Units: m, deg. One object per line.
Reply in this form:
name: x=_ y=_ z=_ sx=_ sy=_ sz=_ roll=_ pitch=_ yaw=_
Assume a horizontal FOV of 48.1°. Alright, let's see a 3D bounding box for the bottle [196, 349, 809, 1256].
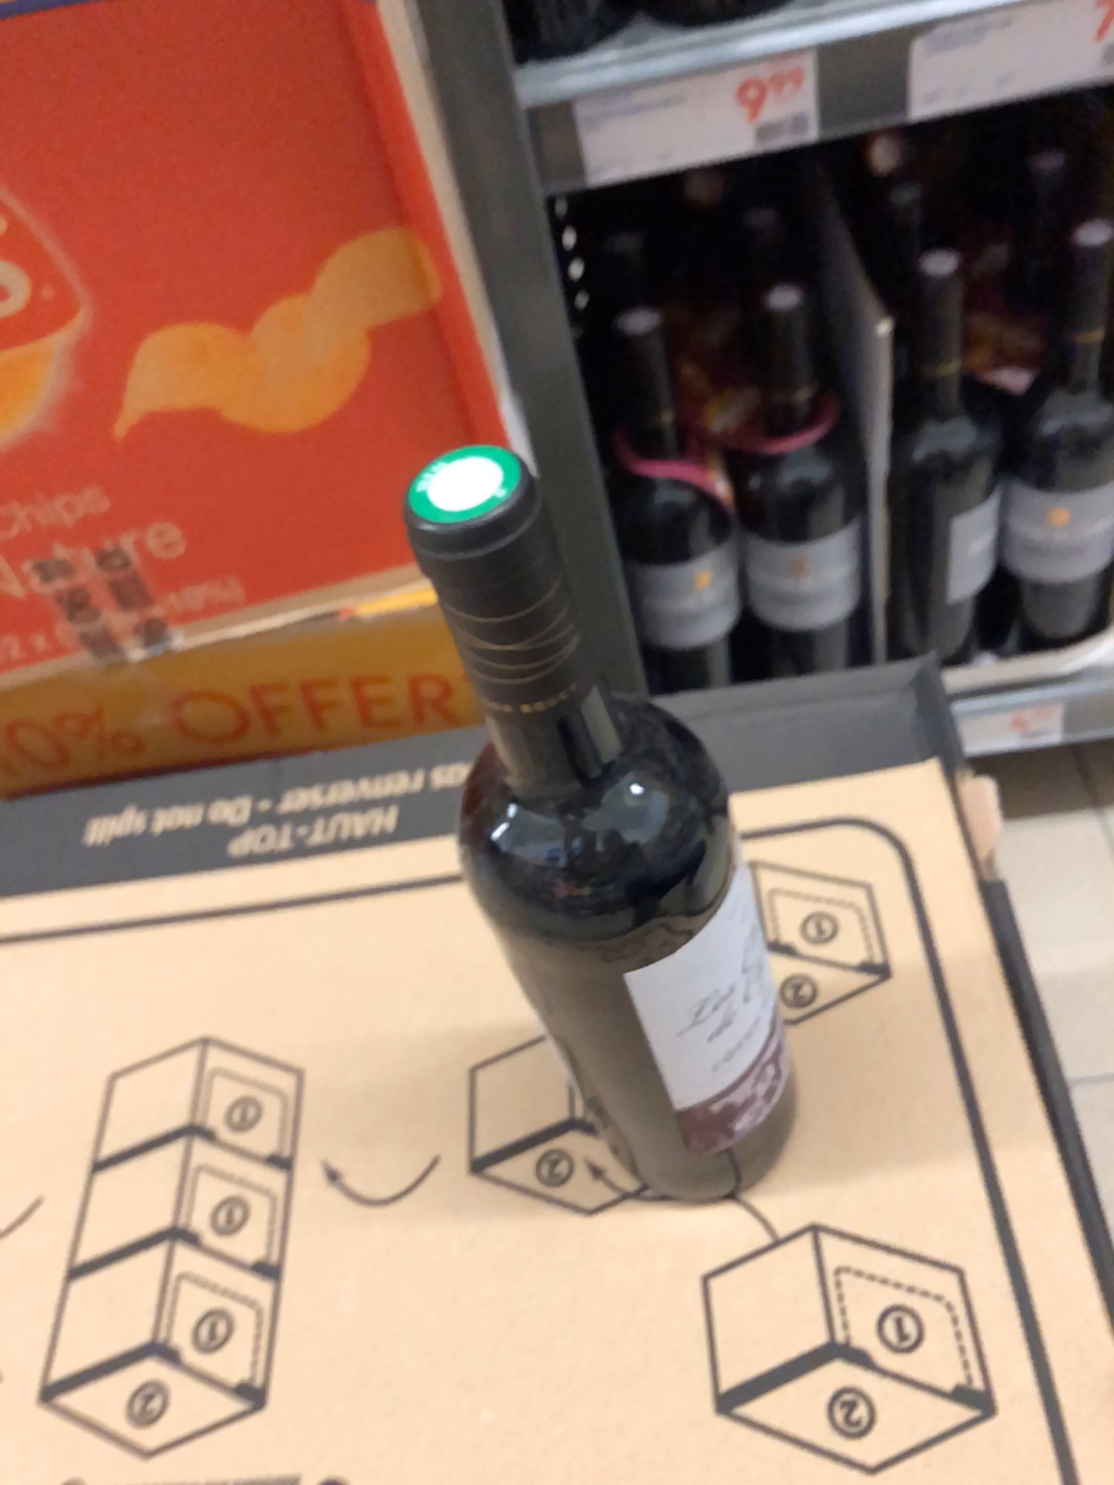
bottle: x=0.016 y=0.046 z=0.344 sx=0.090 sy=0.289 sz=0.091 roll=-7 pitch=50 yaw=9
